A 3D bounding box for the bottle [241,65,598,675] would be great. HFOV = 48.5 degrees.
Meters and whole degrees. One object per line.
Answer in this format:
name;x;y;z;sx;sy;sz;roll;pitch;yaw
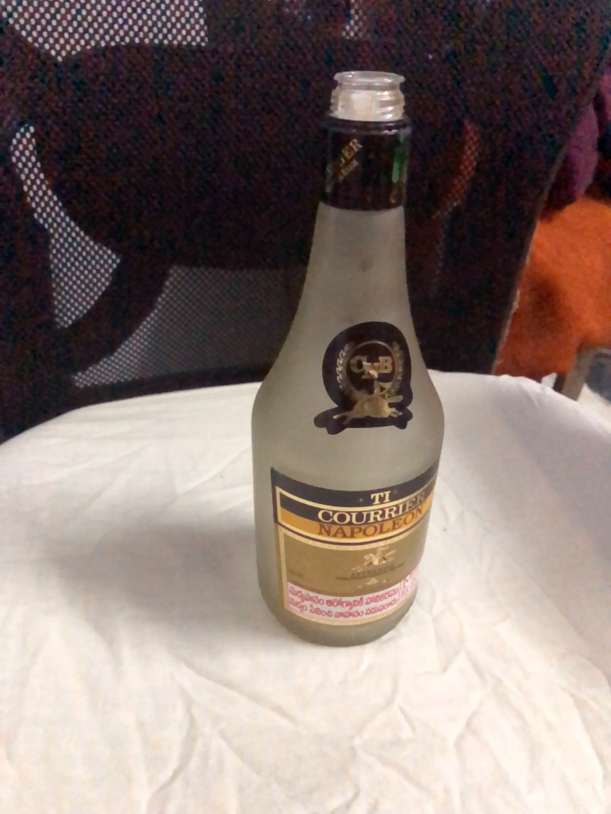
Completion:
bottle;0.026;-0.005;0.286;0.090;0.239;0.080;-6;34;-15
